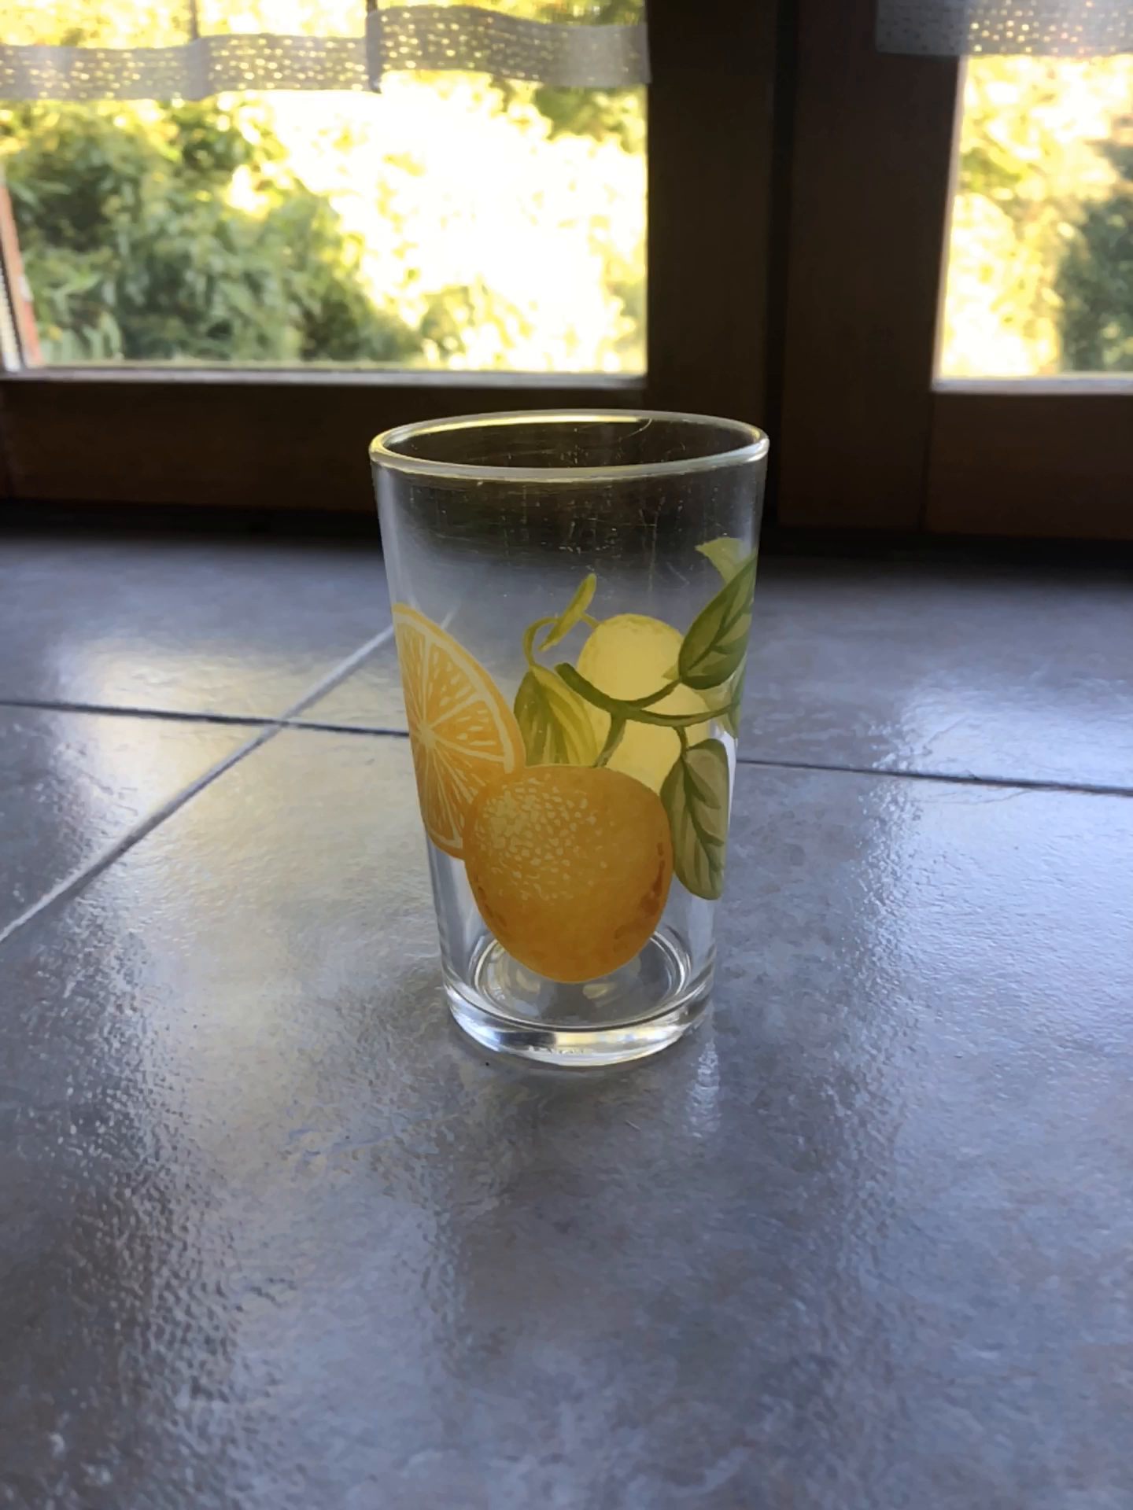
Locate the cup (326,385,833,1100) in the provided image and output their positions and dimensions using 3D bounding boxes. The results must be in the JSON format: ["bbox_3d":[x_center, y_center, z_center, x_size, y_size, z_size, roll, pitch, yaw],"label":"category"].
[{"bbox_3d":[0.000,-0.008,0.247,0.070,0.112,0.069,-1,24,1],"label":"cup"}]
